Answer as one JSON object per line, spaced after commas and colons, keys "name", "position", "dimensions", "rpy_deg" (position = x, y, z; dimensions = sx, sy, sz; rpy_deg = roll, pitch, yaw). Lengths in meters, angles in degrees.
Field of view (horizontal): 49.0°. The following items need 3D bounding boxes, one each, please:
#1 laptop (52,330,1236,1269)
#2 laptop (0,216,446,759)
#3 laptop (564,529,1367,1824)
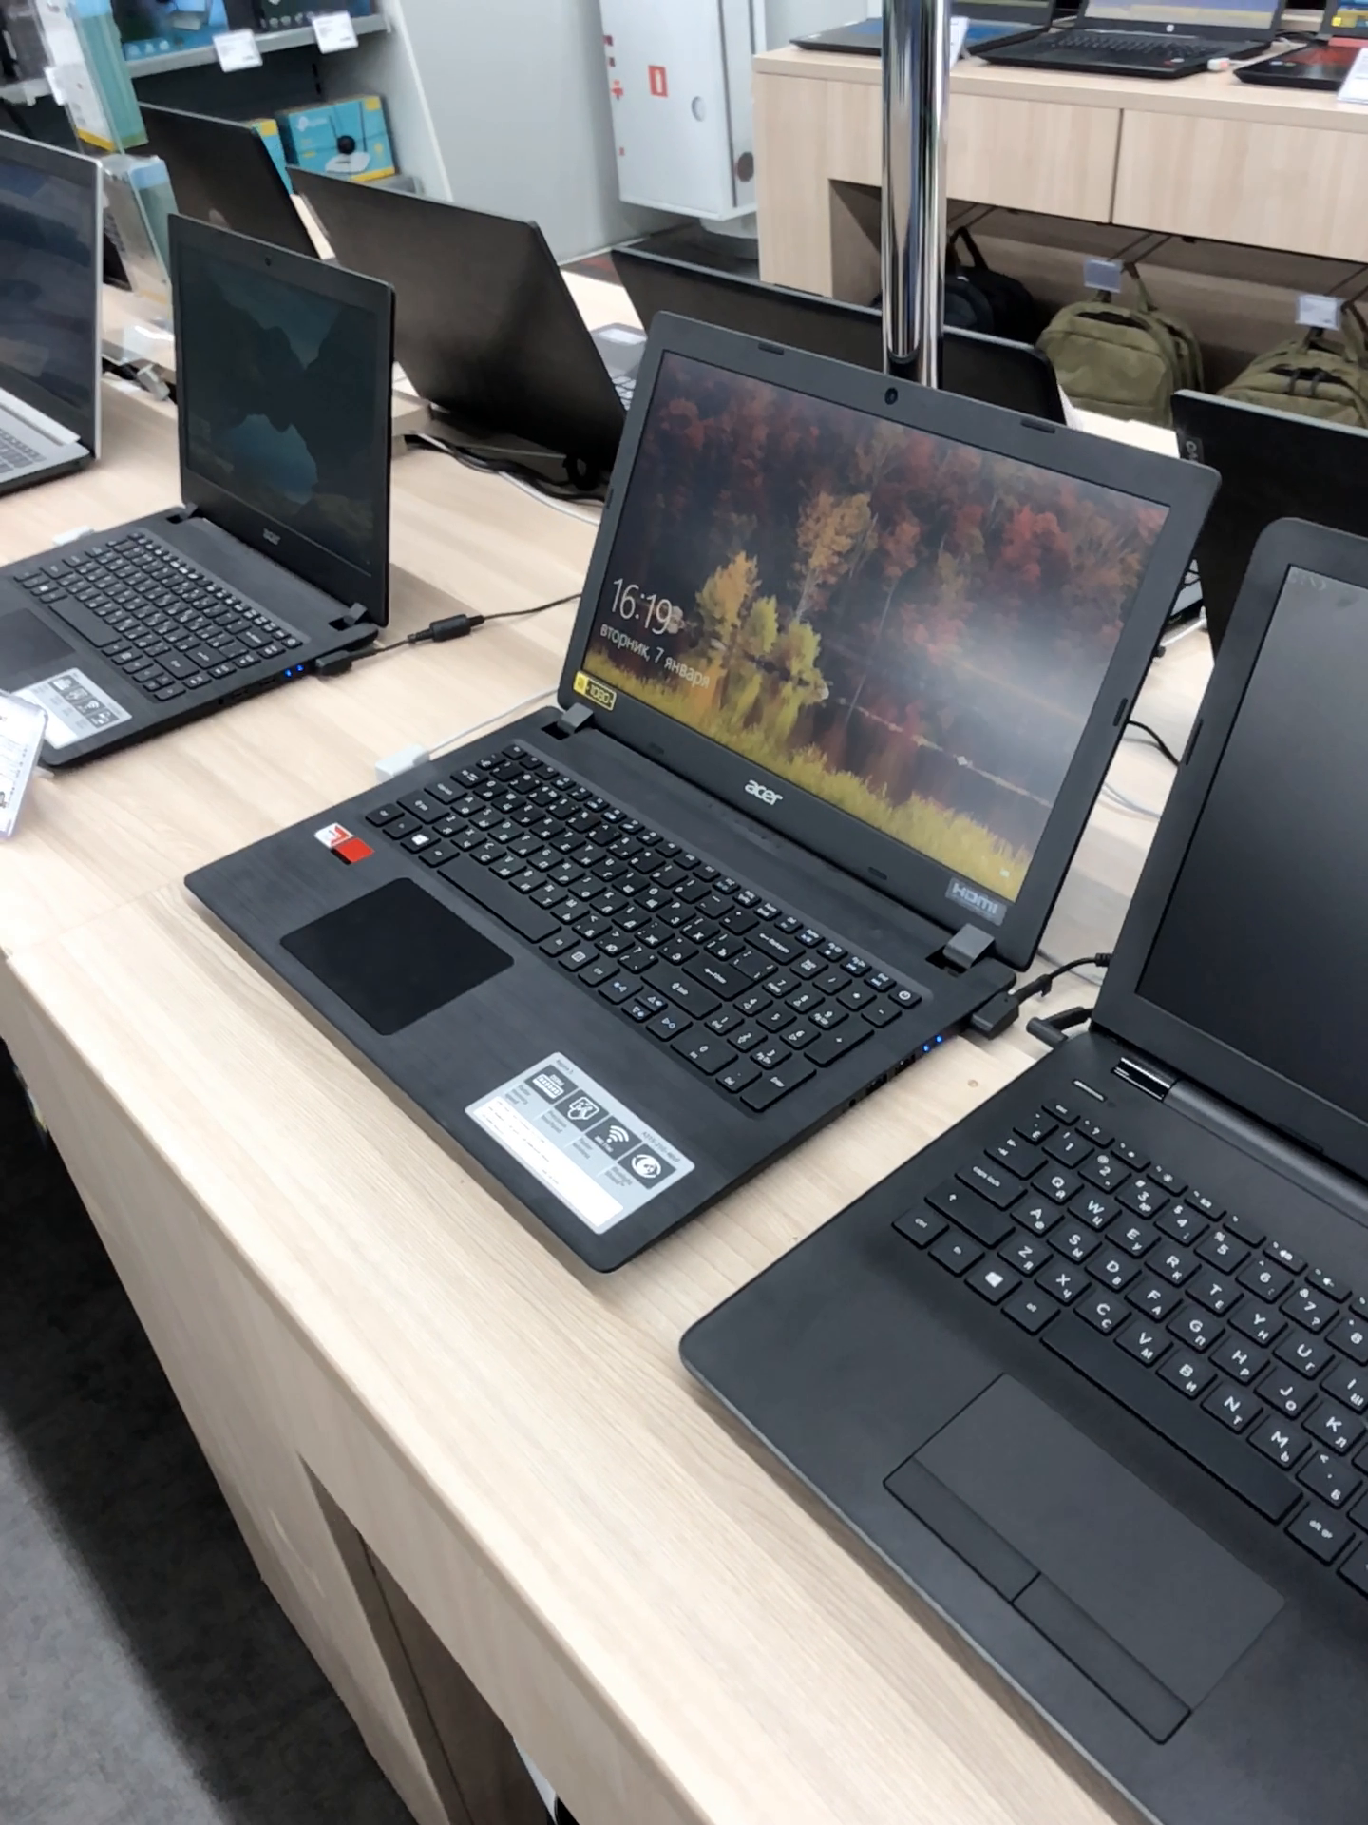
{"name": "laptop", "position": [-0.022, -0.099, 0.734], "dimensions": [0.368, 0.208, 0.374], "rpy_deg": [-31, 44, -29]}
{"name": "laptop", "position": [-0.398, -0.319, 1.062], "dimensions": [0.301, 0.214, 0.307], "rpy_deg": [-30, 44, -27]}
{"name": "laptop", "position": [0.235, 0.084, 0.457], "dimensions": [0.338, 0.212, 0.379], "rpy_deg": [-29, 43, -28]}
